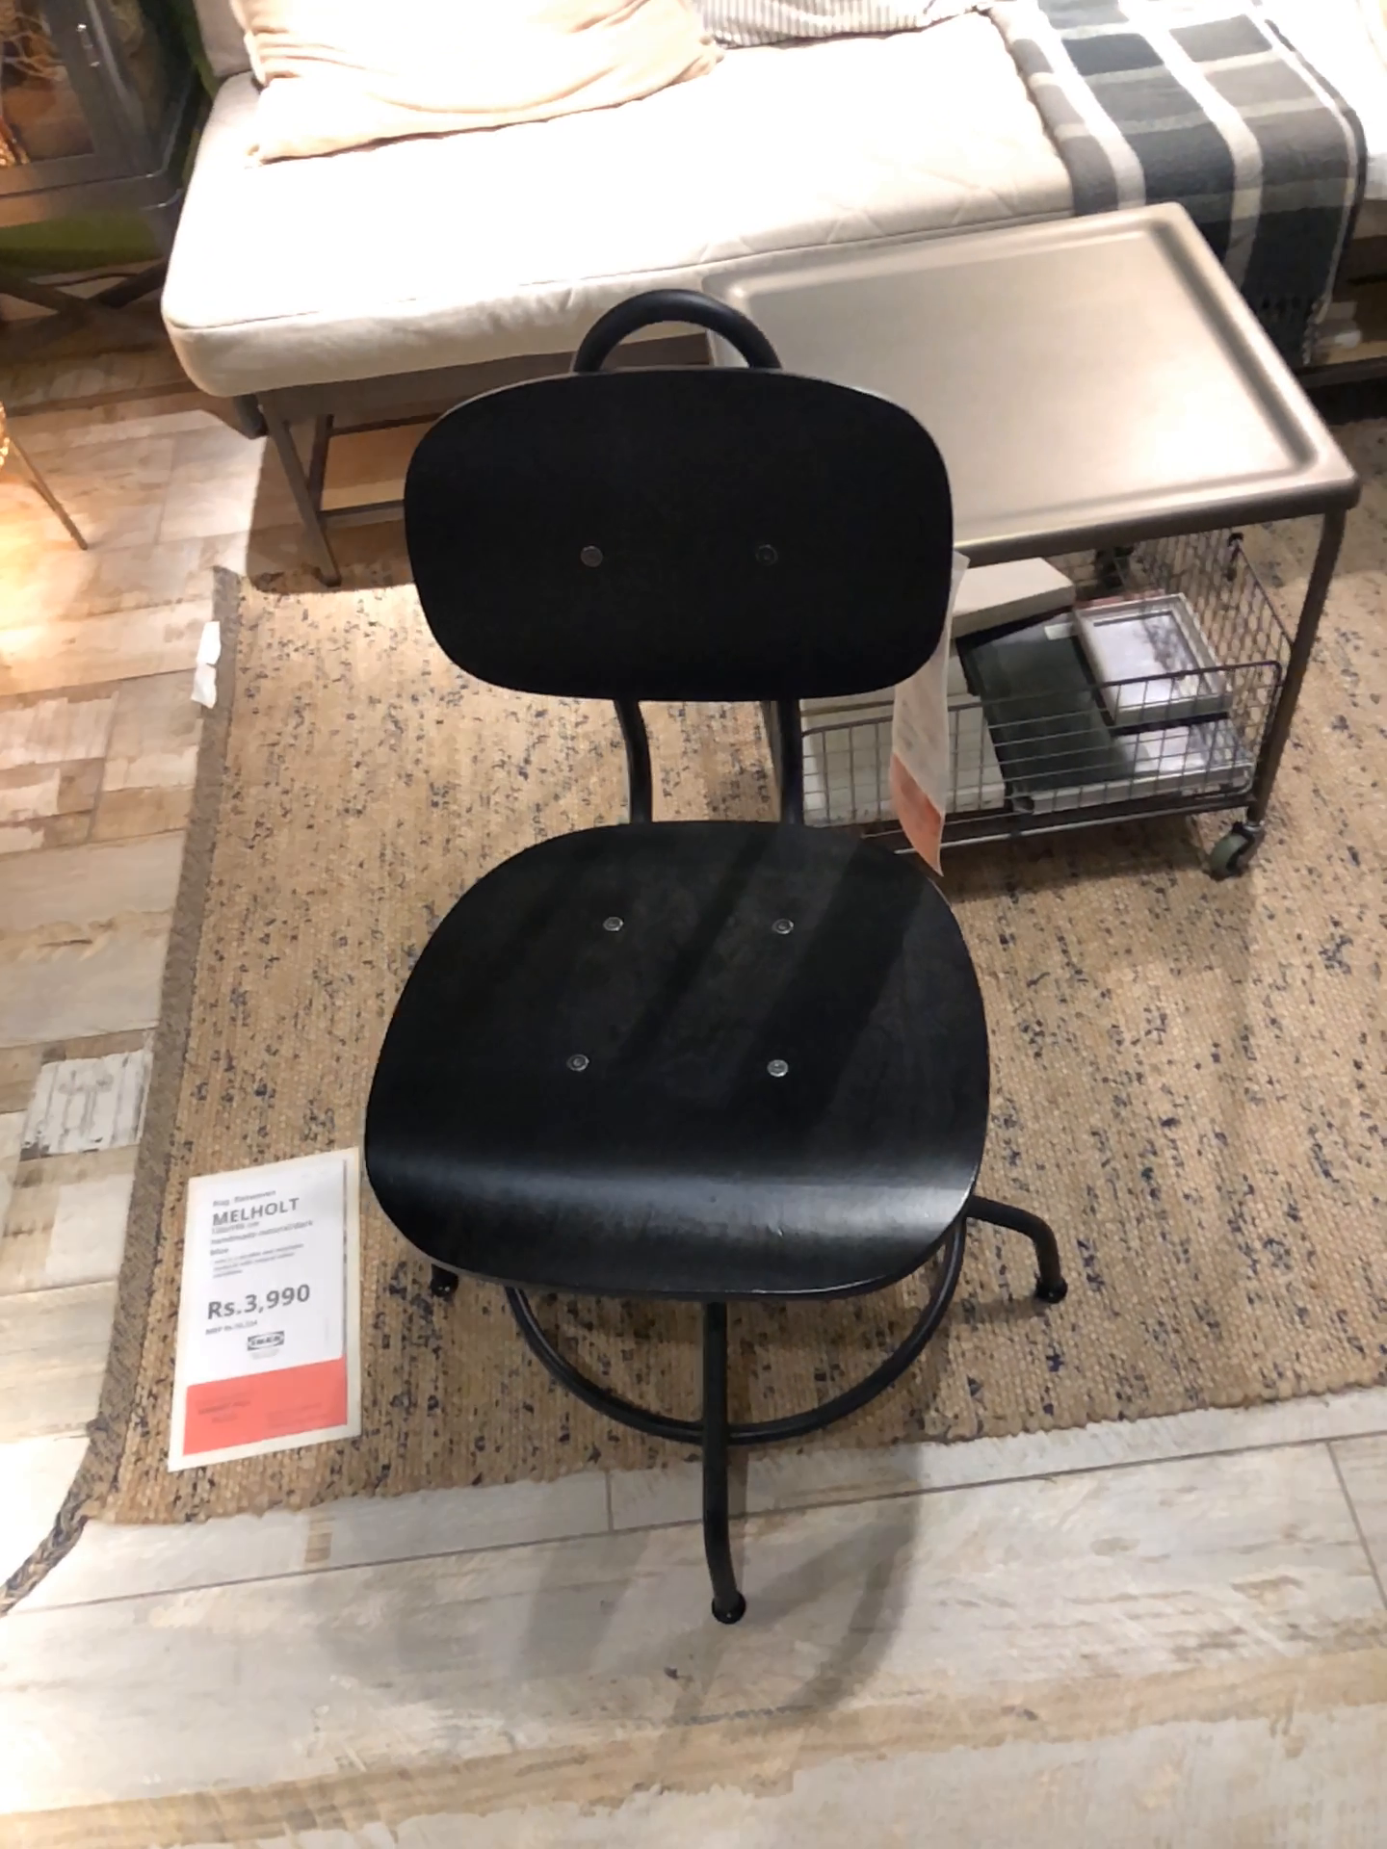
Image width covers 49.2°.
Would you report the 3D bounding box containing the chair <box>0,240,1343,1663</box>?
[{"bbox_3d":[-0.001,0.074,1.033,0.590,0.766,0.583,-1,51,8],"label":"chair"}]
